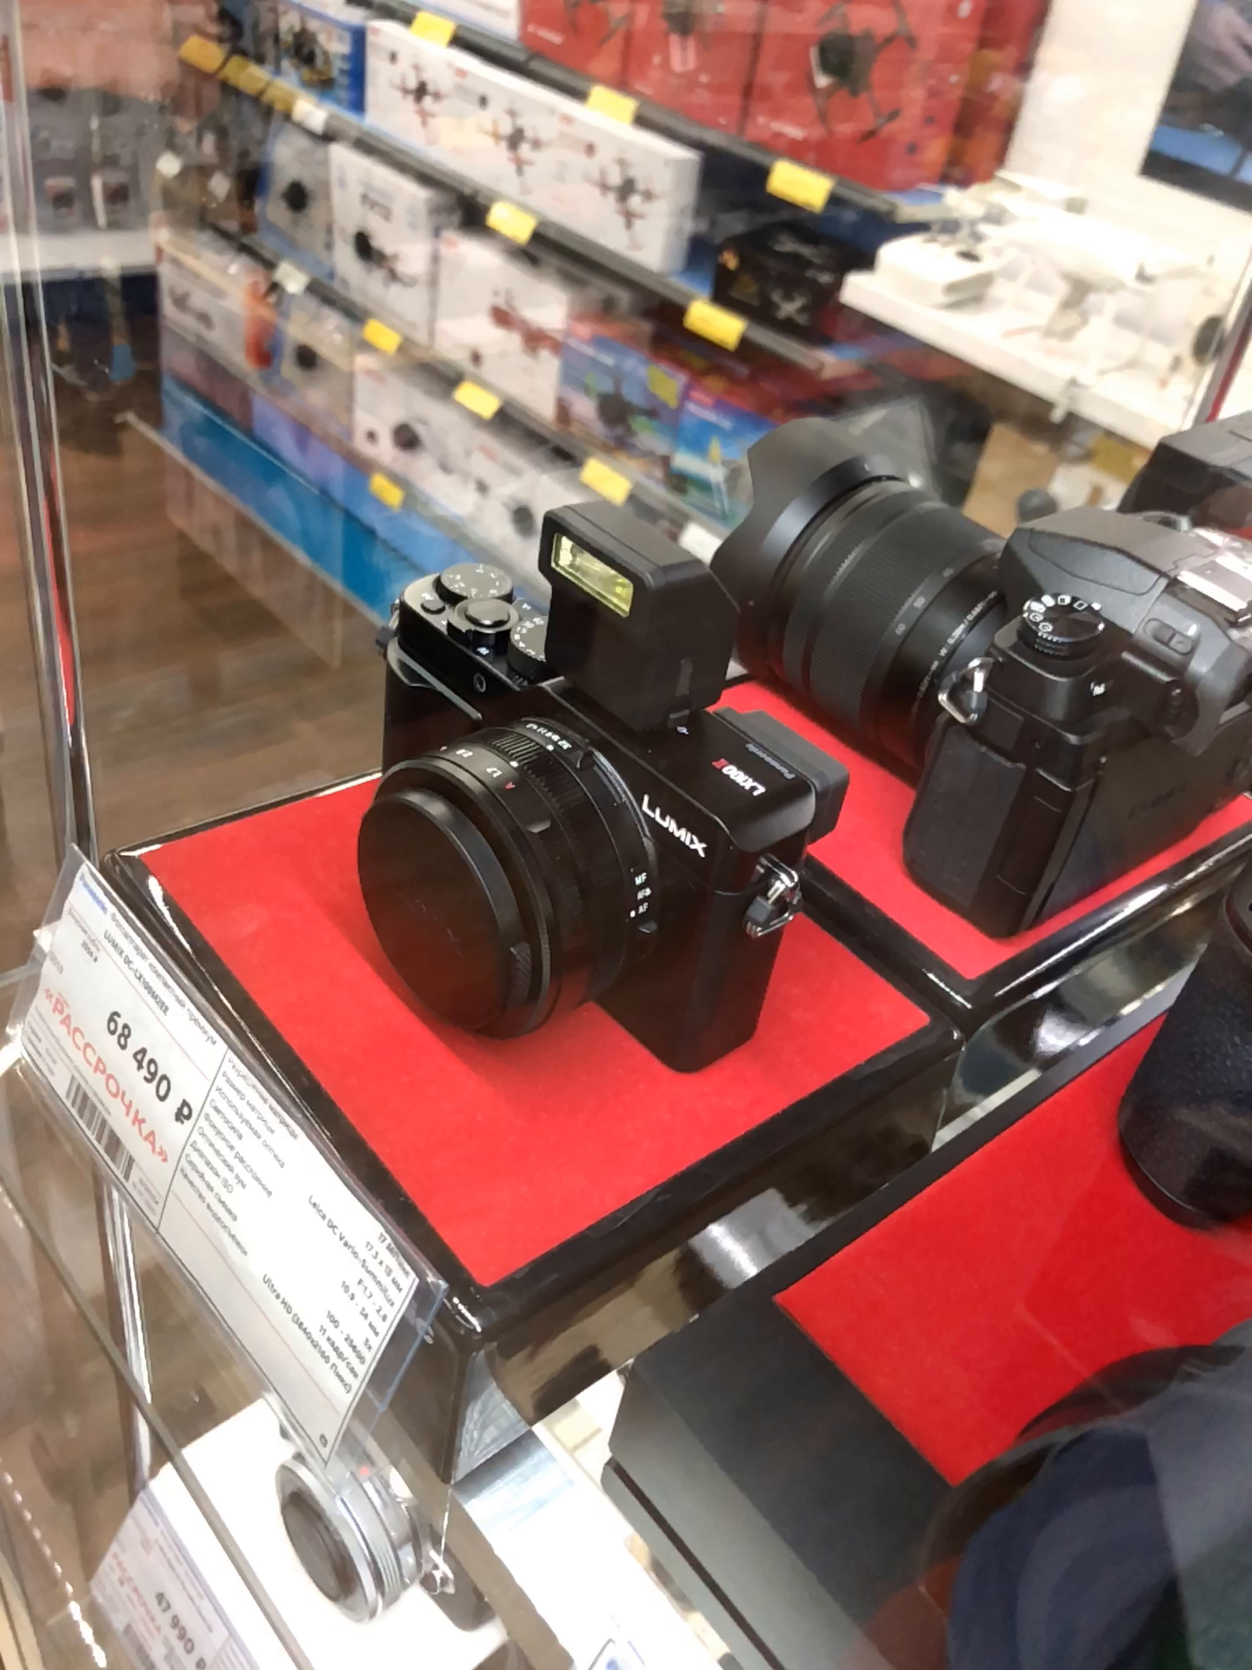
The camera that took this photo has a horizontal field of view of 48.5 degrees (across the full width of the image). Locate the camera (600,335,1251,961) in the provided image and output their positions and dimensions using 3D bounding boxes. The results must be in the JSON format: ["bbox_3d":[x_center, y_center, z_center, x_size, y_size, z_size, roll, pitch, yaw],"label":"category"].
[{"bbox_3d":[0.082,-0.059,0.360,0.099,0.081,0.149,-20,46,-34],"label":"camera"}]

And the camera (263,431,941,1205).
[{"bbox_3d":[-0.015,-0.010,0.289,0.069,0.098,0.117,-22,48,-36],"label":"camera"}]

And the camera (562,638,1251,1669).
[{"bbox_3d":[0.140,0.088,0.195,0.227,0.114,0.175,-22,48,-36],"label":"camera"}]
